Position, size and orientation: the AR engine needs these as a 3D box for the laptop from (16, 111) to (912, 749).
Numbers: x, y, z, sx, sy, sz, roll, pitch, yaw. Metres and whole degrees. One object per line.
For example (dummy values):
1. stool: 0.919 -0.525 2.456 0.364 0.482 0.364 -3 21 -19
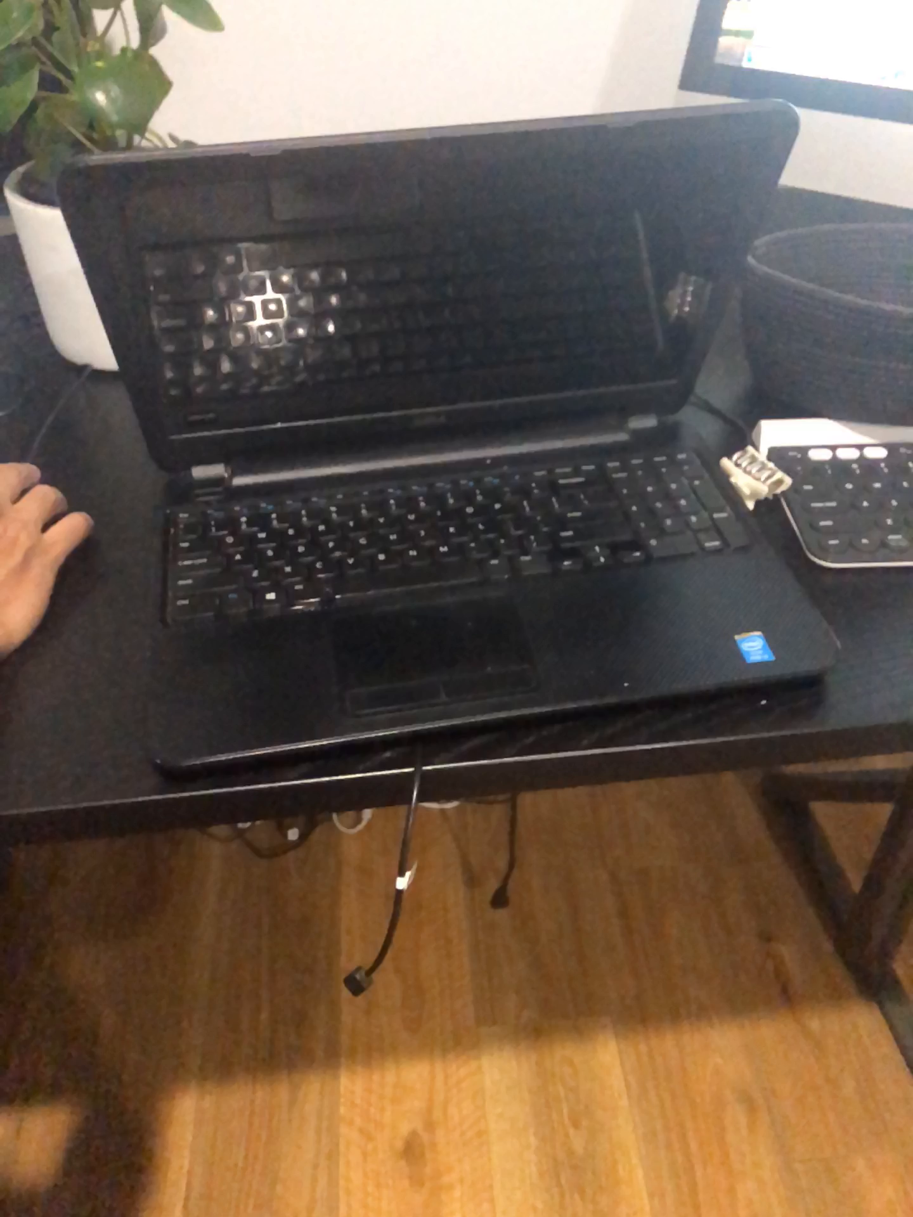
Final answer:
1. laptop: -0.001 -0.100 0.527 0.366 0.211 0.207 -7 43 -6
